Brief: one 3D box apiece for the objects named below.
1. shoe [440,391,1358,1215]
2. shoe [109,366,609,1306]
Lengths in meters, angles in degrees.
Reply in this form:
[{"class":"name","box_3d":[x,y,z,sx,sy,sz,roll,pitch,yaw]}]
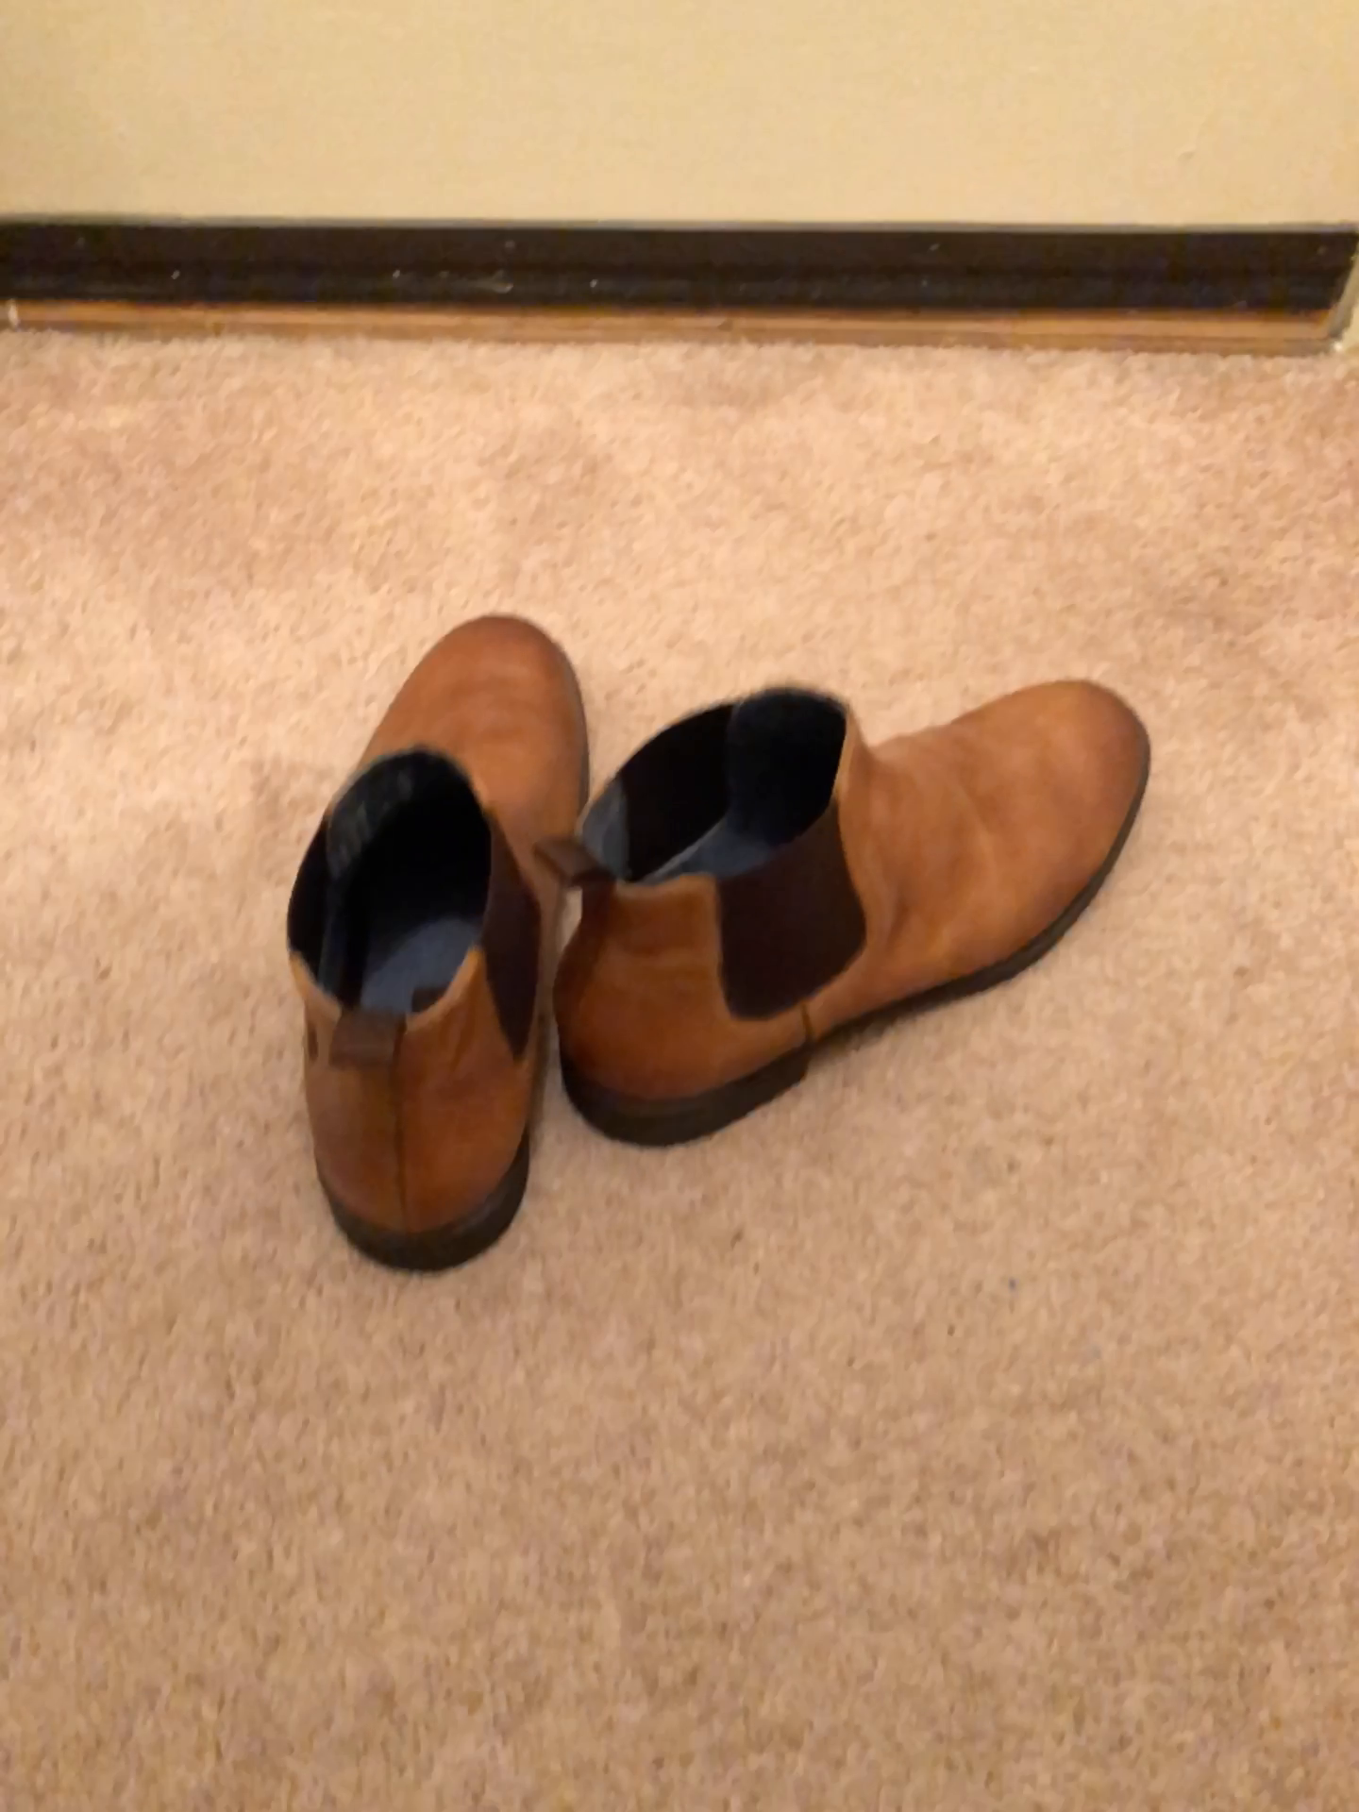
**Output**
[{"class":"shoe","box_3d":[0.084,-0.041,0.561,0.313,0.165,0.109,-29,60,-20]},{"class":"shoe","box_3d":[-0.094,-0.033,0.563,0.109,0.165,0.313,3,55,1]}]
